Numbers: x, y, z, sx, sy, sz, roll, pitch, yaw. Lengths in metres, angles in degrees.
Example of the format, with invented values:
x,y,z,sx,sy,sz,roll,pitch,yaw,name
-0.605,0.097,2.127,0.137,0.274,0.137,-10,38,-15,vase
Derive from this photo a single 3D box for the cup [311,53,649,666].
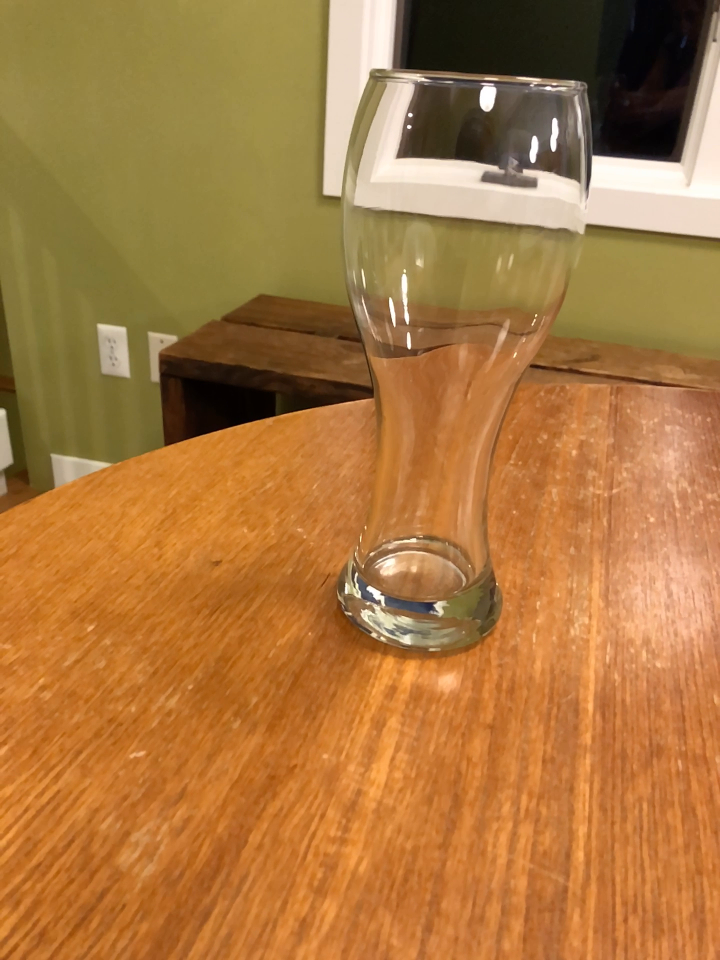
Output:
x,y,z,sx,sy,sz,roll,pitch,yaw,name
0.033,-0.044,0.323,0.093,0.222,0.088,3,26,-1,cup
